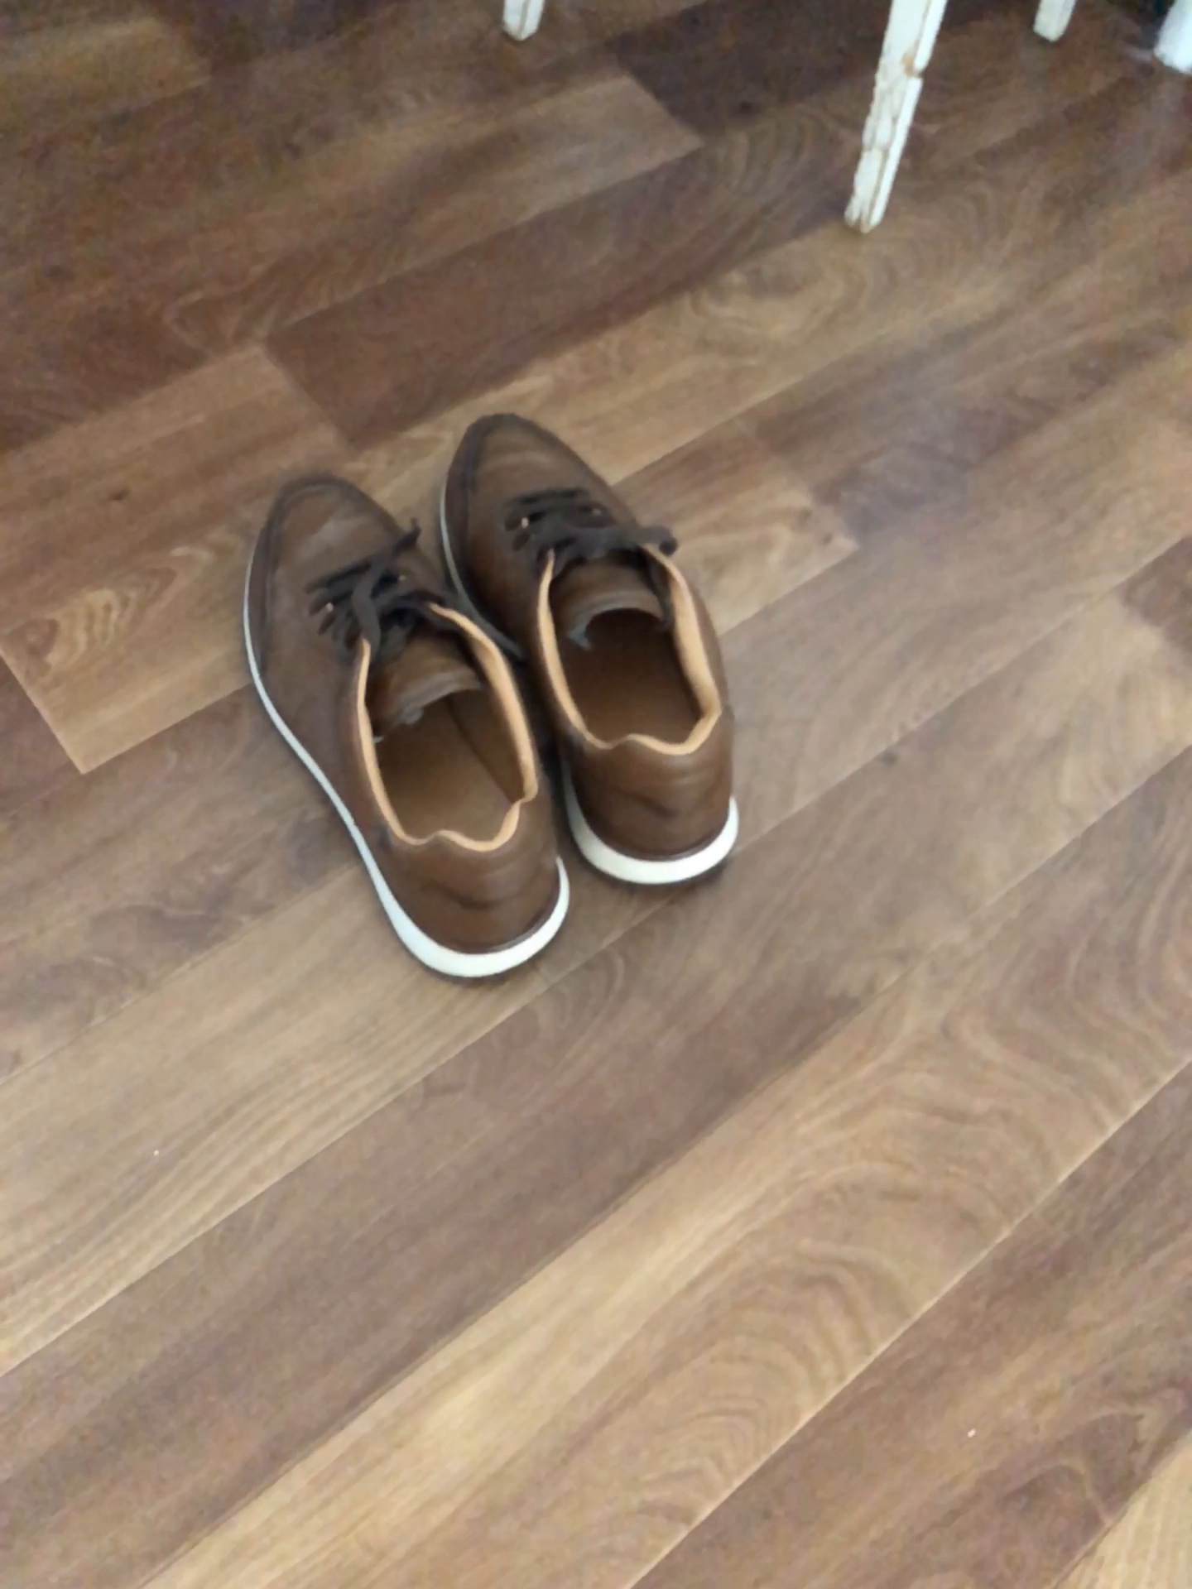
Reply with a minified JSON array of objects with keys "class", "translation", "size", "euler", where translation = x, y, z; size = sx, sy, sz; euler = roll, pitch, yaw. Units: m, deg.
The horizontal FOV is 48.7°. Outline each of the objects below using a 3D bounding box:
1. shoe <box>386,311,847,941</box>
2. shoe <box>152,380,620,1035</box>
[{"class":"shoe","translation":[-0.002,-0.088,0.630],"size":[0.110,0.090,0.281],"euler":[-17,66,-15]},{"class":"shoe","translation":[-0.101,-0.047,0.606],"size":[0.100,0.090,0.281],"euler":[-22,67,-16]}]
